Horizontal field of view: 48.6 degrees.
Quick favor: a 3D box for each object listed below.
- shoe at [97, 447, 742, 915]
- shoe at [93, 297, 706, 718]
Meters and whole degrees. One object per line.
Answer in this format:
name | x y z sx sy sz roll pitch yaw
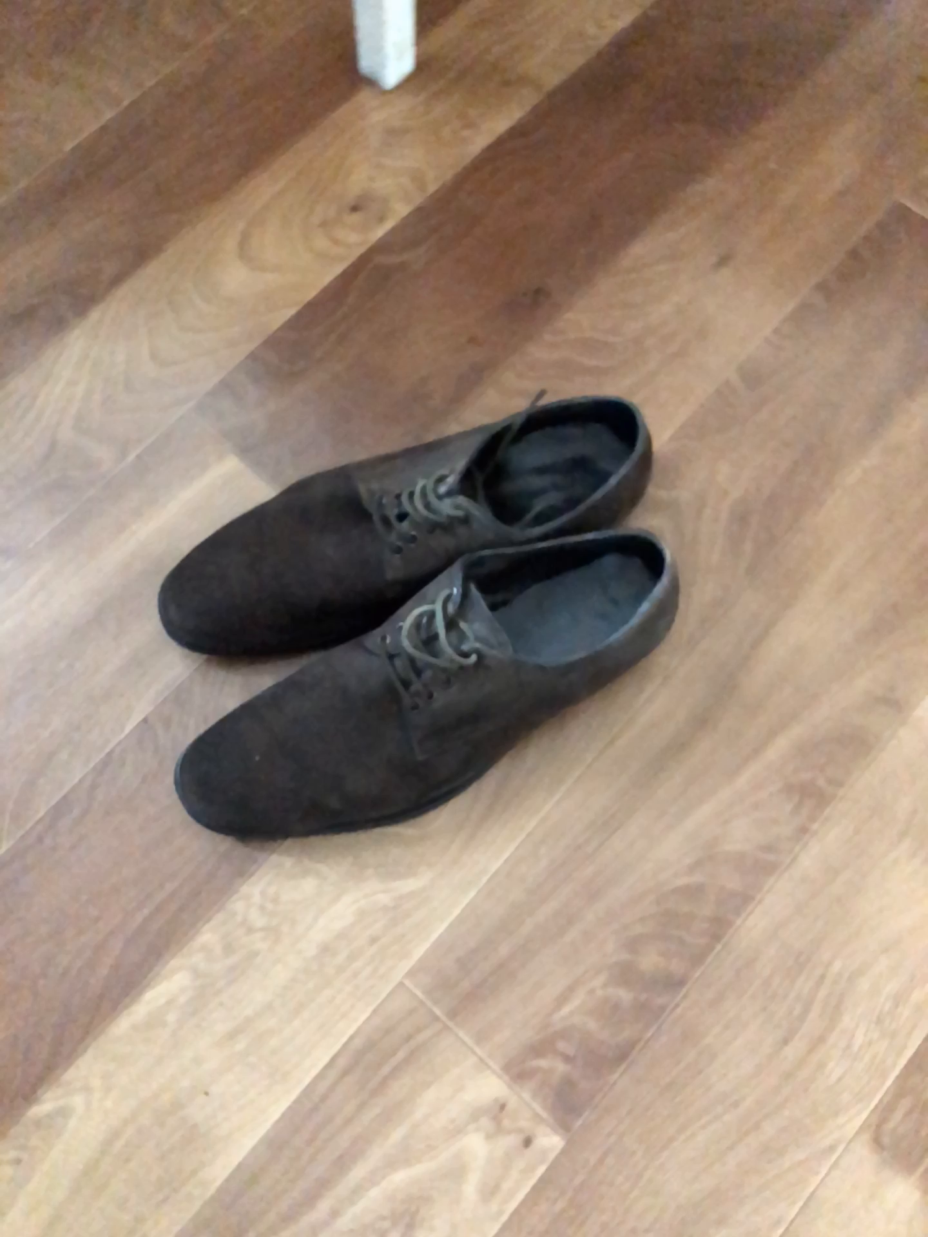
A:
shoe | -0.021 0.036 0.575 0.310 0.100 0.120 -25 74 -10
shoe | -0.035 -0.064 0.606 0.310 0.100 0.120 -21 73 -9
